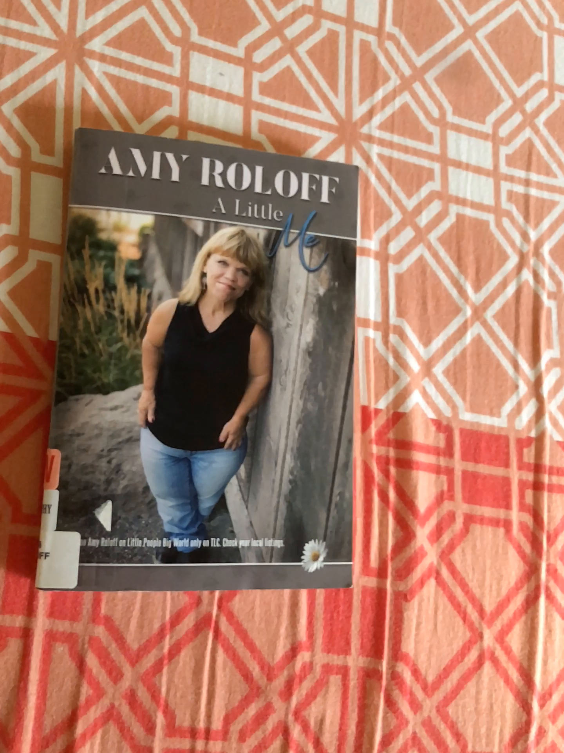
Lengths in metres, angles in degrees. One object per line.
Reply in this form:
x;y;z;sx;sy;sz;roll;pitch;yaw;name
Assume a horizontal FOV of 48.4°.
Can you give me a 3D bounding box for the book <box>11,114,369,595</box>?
-0.039;-0.008;0.311;0.158;0.030;0.215;3;84;-13;book
